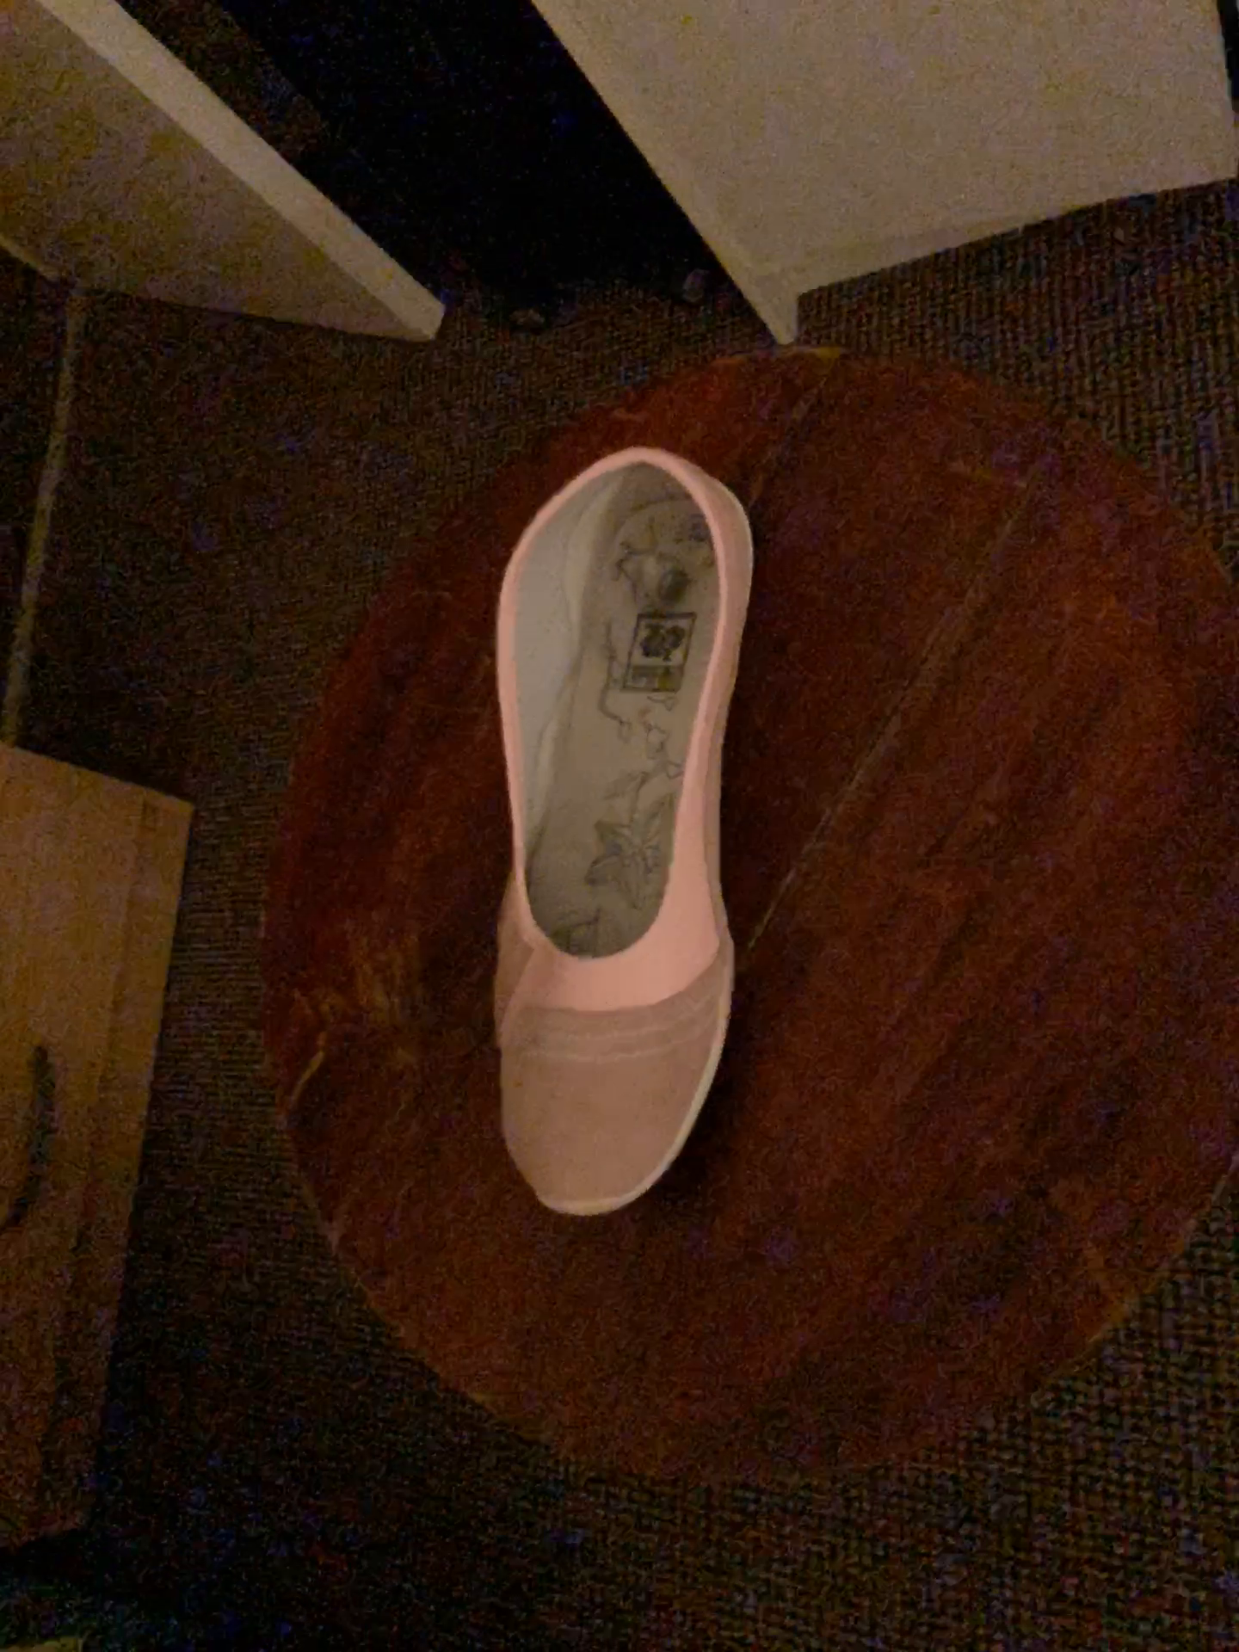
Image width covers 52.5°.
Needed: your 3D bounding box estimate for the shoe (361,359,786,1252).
[{"bbox_3d":[-0.009,-0.007,0.419,0.090,0.070,0.270,-2,74,31],"label":"shoe"}]
